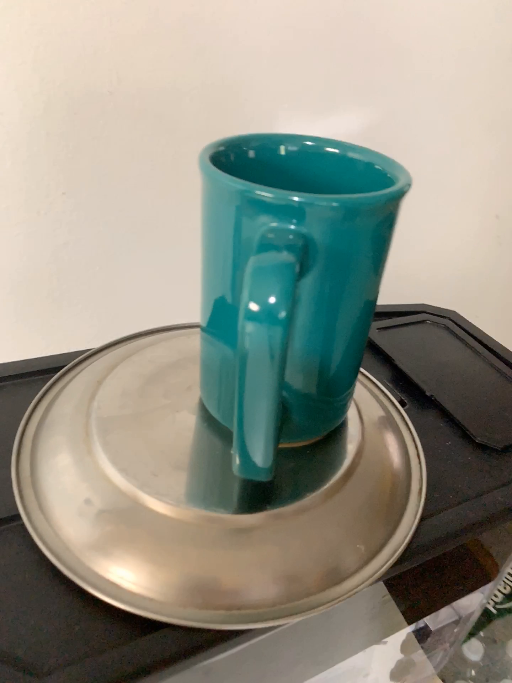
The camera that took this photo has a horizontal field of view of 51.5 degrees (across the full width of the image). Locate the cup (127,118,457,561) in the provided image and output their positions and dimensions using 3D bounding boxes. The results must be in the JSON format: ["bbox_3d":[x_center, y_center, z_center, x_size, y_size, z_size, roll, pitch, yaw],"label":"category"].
[{"bbox_3d":[0.011,-0.009,0.210,0.080,0.119,0.121,8,33,4],"label":"cup"}]
